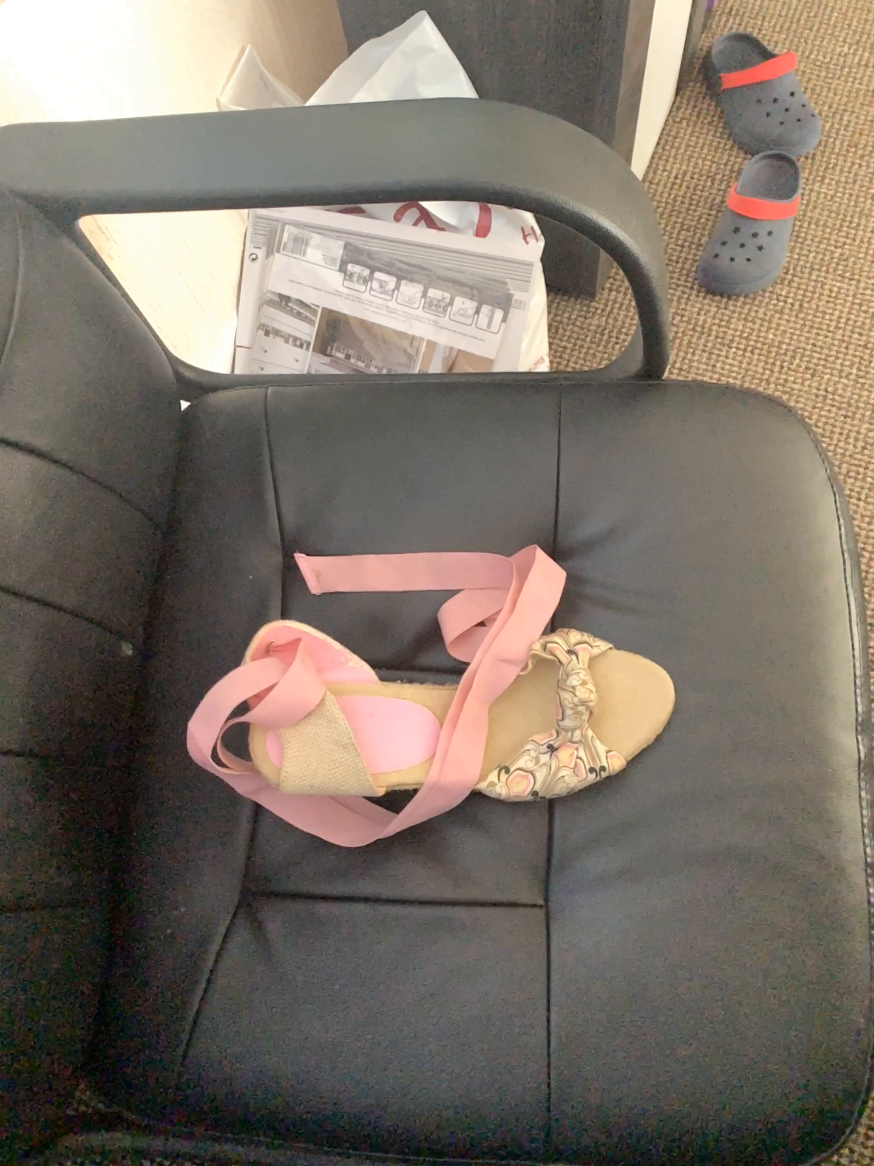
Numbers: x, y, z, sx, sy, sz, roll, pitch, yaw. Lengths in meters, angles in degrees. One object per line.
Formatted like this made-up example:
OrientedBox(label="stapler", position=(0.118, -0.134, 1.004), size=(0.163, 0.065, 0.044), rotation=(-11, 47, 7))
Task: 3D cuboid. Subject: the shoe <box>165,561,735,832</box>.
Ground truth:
OrientedBox(label="shoe", position=(0.006, 0.073, 0.501), size=(0.270, 0.140, 0.100), rotation=(-6, 72, 4))
